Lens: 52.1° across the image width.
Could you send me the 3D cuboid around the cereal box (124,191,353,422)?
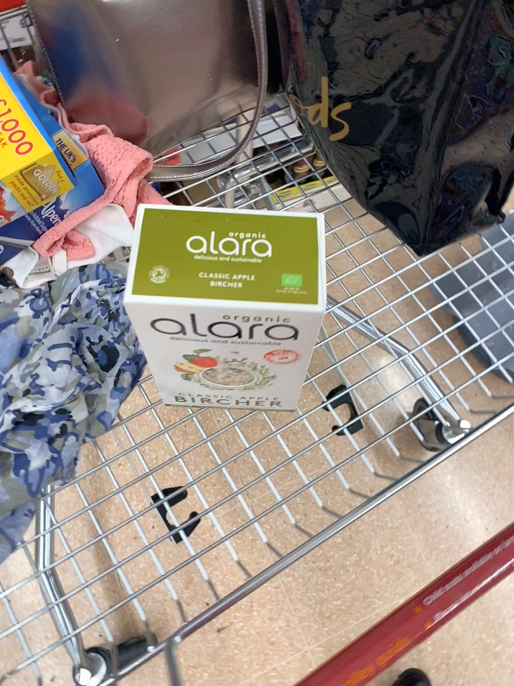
[{"bbox_3d":[-0.013,-0.011,0.374,0.120,0.179,0.080,3,65,-2],"label":"cereal box"}]
